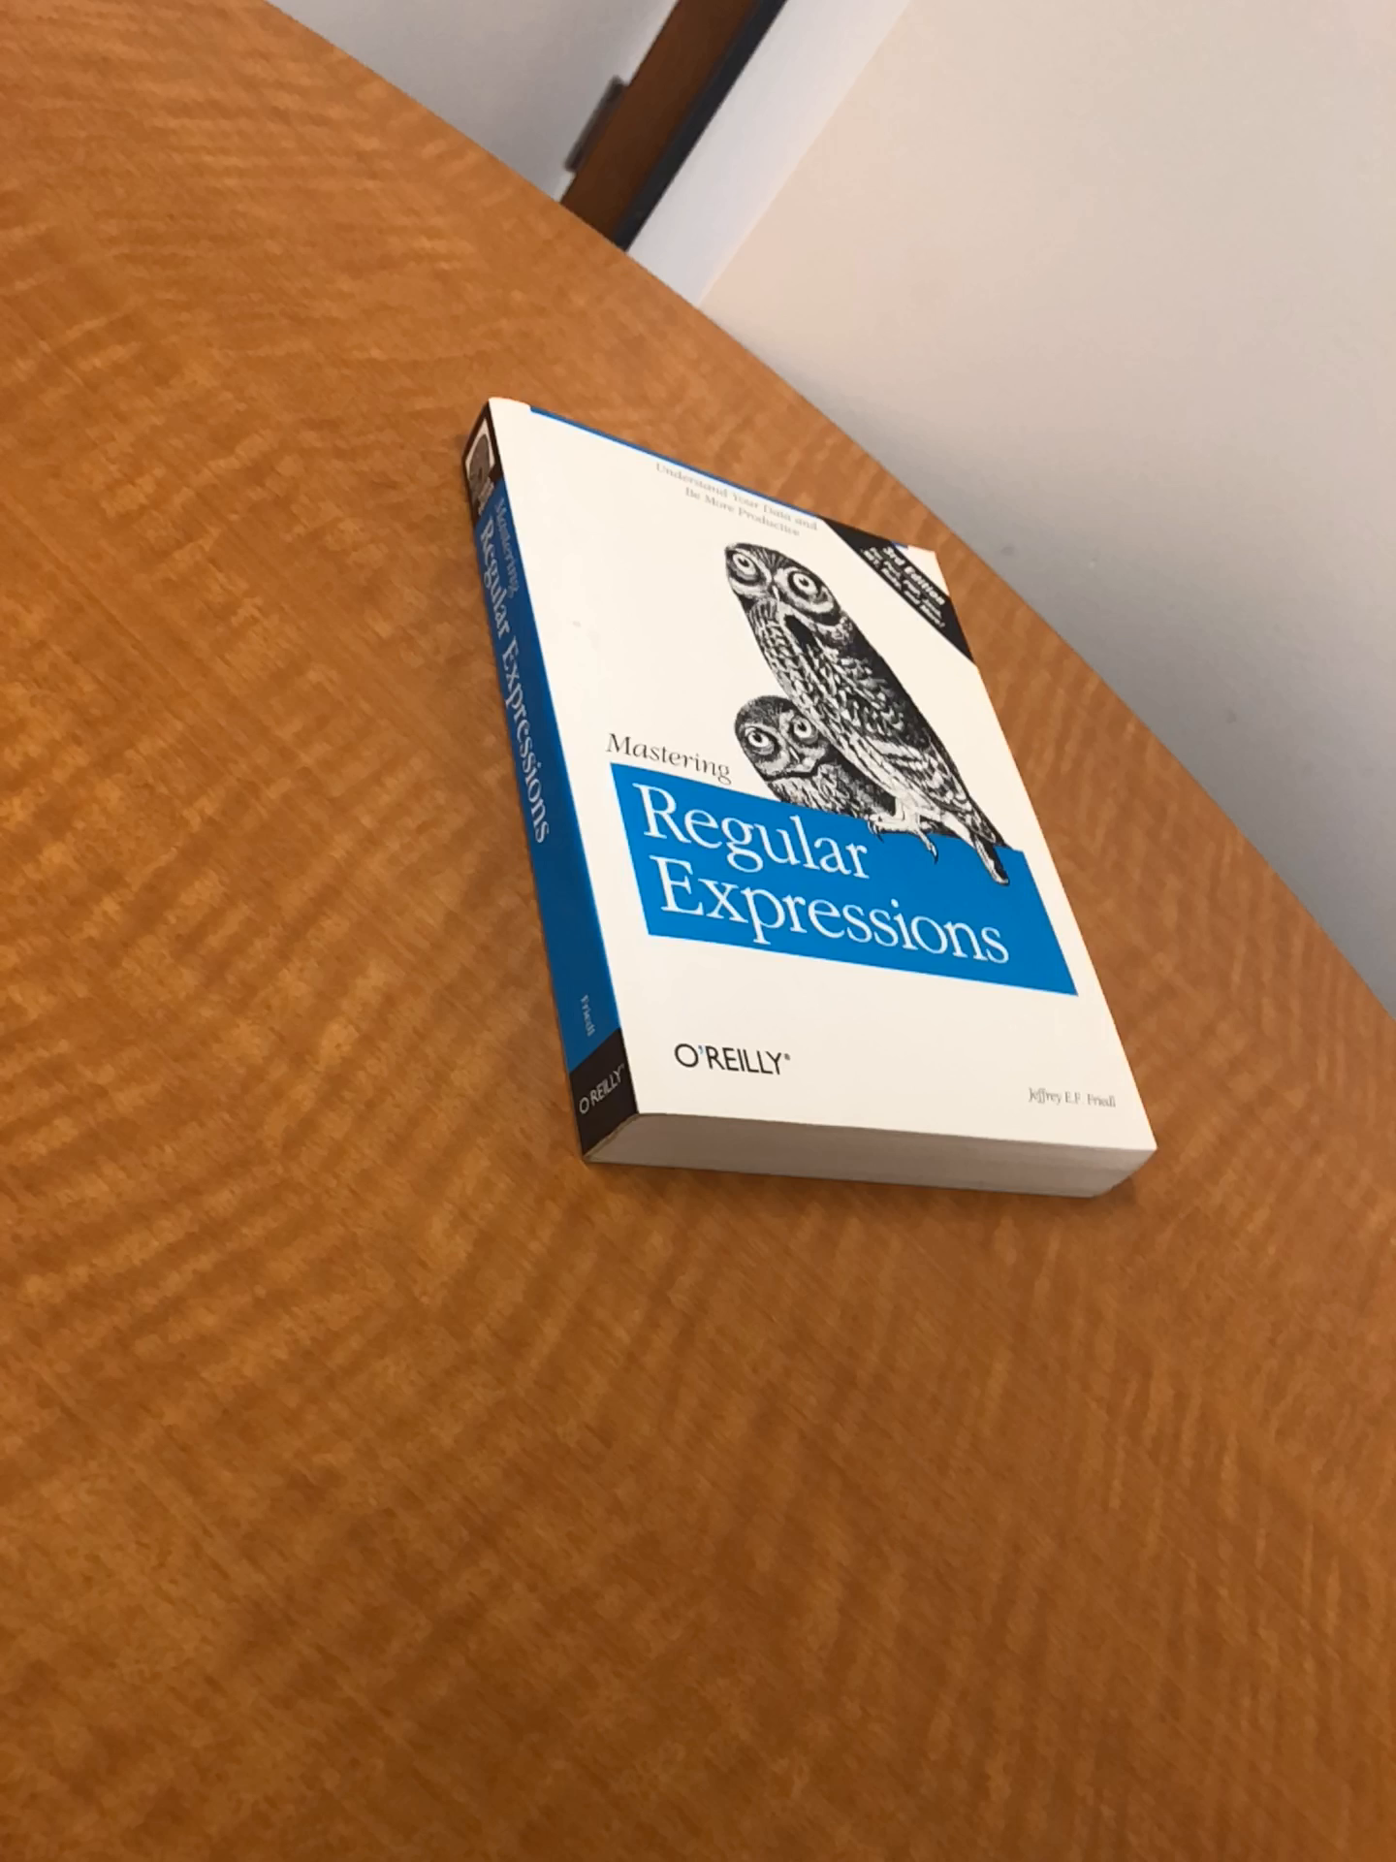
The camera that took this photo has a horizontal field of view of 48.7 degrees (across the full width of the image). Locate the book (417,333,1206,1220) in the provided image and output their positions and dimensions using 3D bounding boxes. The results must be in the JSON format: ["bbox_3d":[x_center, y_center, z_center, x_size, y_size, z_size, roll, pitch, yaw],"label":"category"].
[{"bbox_3d":[0.029,-0.046,0.468,0.201,0.040,0.261,10,53,-35],"label":"book"}]
